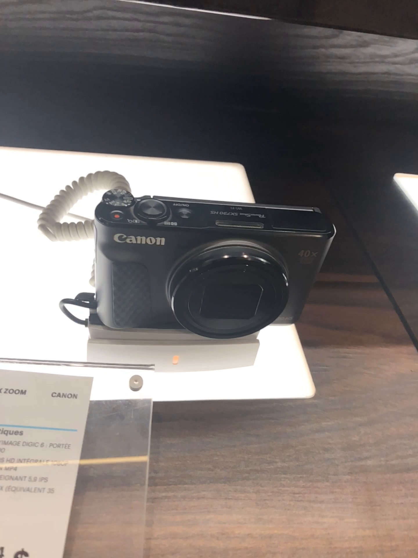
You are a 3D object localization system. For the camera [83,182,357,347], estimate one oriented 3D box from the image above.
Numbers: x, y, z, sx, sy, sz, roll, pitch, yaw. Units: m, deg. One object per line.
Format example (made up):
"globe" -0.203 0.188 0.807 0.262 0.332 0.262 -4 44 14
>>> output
"camera" 0.001 -0.003 0.226 0.114 0.069 0.035 2 42 -10
